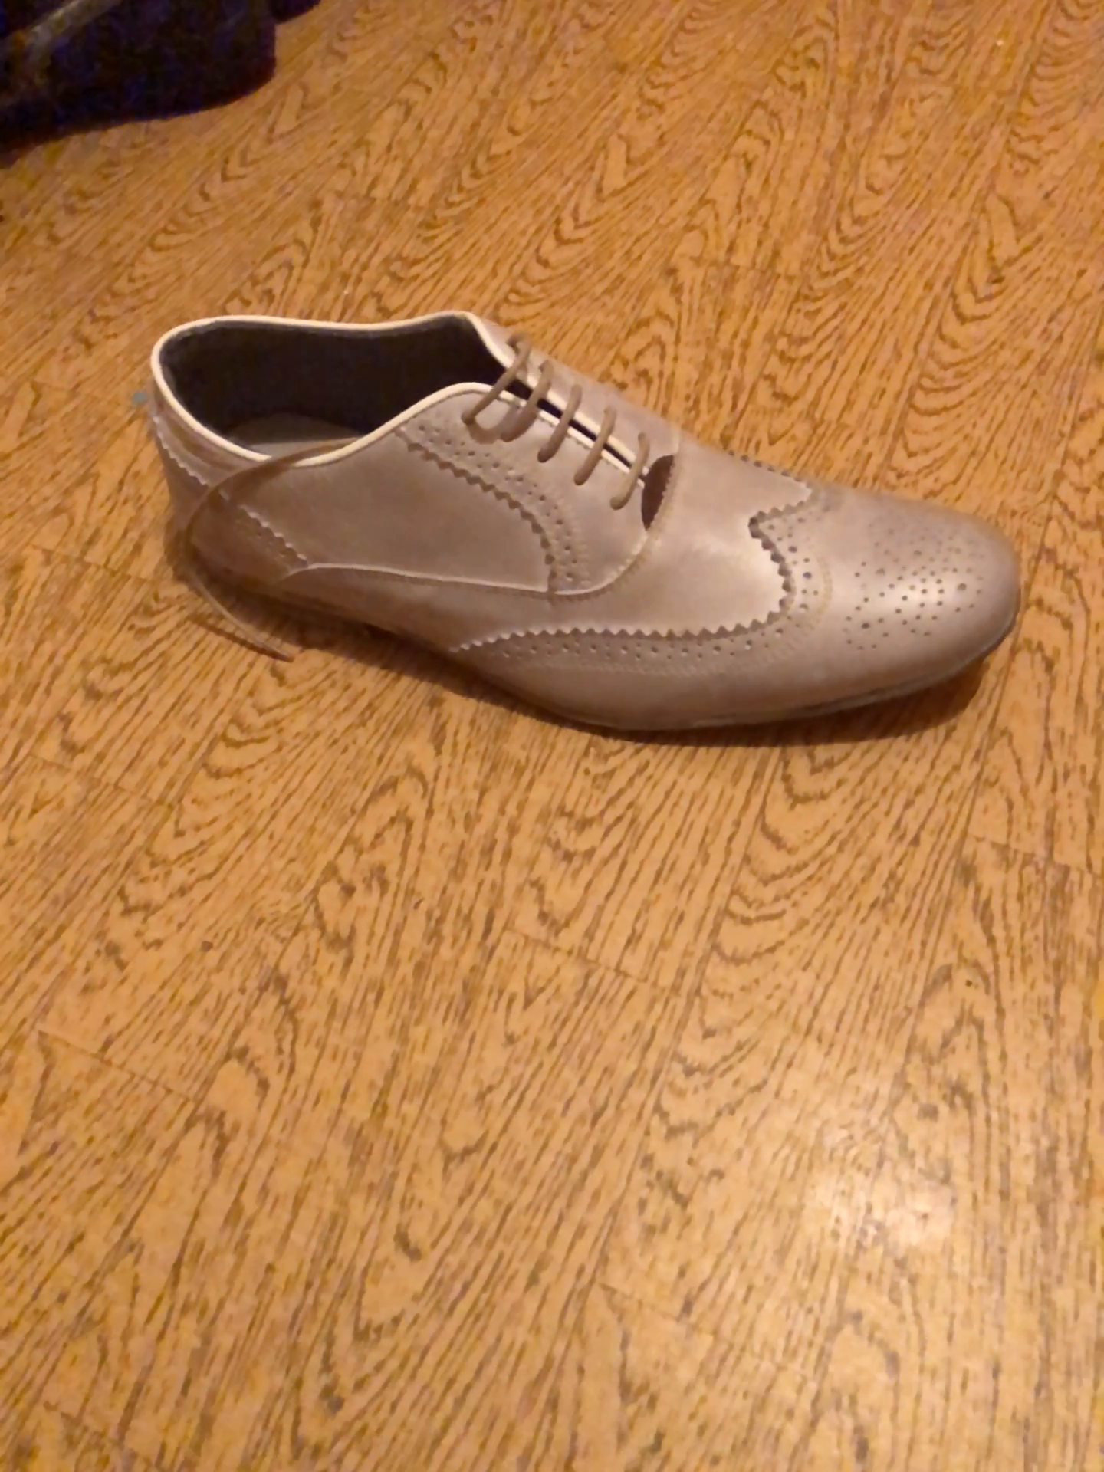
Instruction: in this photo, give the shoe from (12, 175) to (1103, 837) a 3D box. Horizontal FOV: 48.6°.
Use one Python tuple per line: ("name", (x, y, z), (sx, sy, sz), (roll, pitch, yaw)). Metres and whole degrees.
("shoe", (0.005, -0.079, 0.397), (0.300, 0.110, 0.110), (15, 60, 14))
